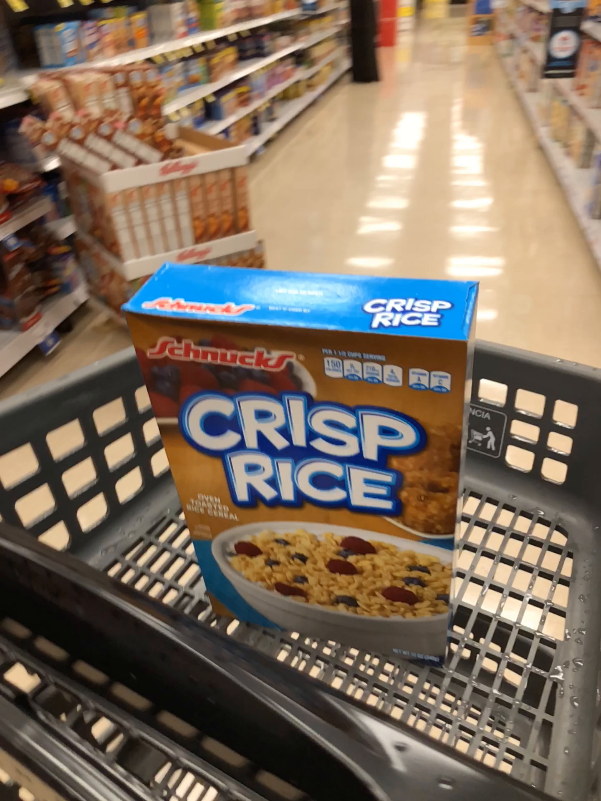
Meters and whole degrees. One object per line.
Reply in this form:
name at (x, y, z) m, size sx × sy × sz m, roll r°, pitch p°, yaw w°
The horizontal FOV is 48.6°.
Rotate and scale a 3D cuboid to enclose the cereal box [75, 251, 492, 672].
cereal box at (0.000, 0.055, 0.455) m, size 0.220 × 0.299 × 0.060 m, roll 7°, pitch 40°, yaw 15°
